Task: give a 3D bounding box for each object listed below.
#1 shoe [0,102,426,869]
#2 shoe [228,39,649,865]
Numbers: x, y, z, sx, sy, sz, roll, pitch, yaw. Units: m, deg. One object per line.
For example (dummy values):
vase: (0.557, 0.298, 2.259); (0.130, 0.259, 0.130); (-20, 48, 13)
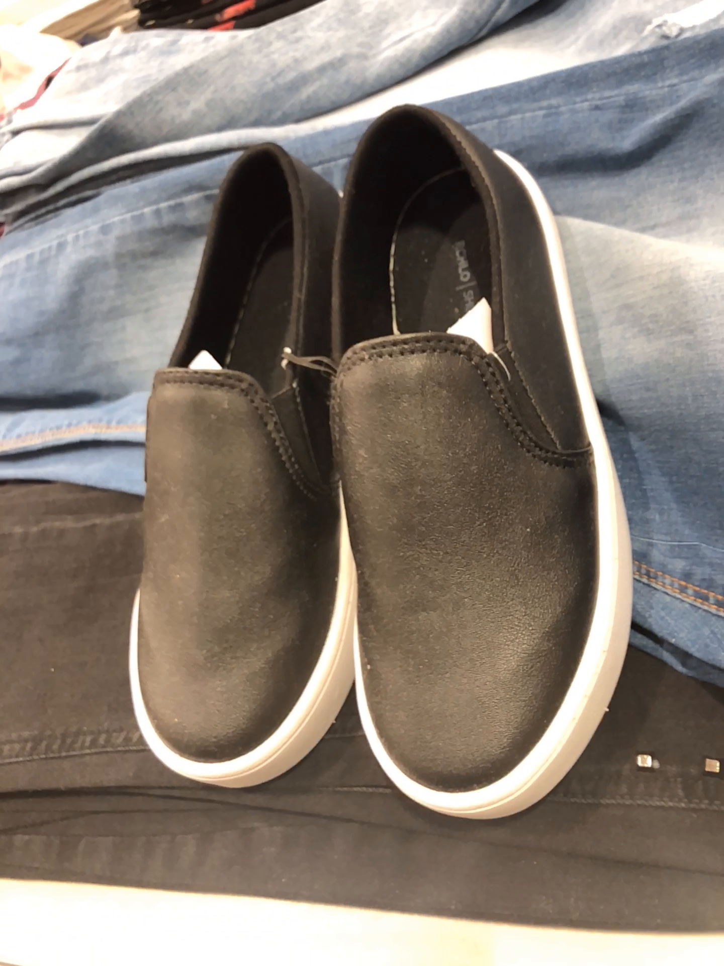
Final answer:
shoe: (-0.056, -0.002, 0.327); (0.110, 0.100, 0.261); (0, 71, 24)
shoe: (0.032, -0.010, 0.301); (0.110, 0.100, 0.261); (-7, 69, 20)
